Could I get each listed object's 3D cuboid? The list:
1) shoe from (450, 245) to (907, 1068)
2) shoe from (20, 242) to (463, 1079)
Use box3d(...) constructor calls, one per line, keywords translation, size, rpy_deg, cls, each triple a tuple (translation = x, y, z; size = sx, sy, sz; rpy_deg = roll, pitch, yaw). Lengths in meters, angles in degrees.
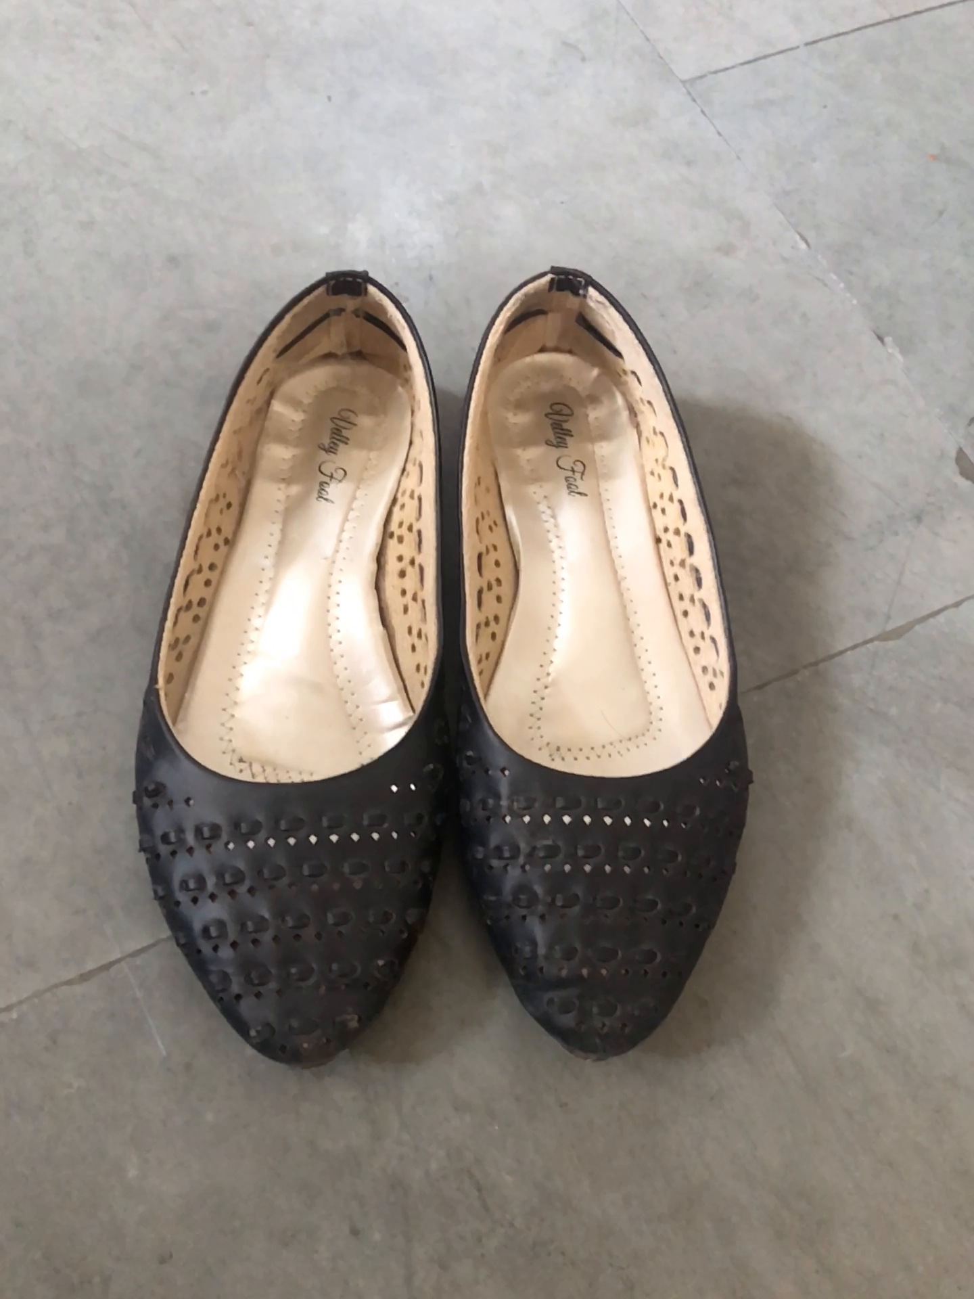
box3d(translation=(0.041, -0.006, 0.332), size=(0.095, 0.073, 0.242), rpy_deg=(-1, 64, -4), cls="shoe")
box3d(translation=(-0.057, -0.005, 0.320), size=(0.095, 0.062, 0.242), rpy_deg=(1, 64, -3), cls="shoe")
